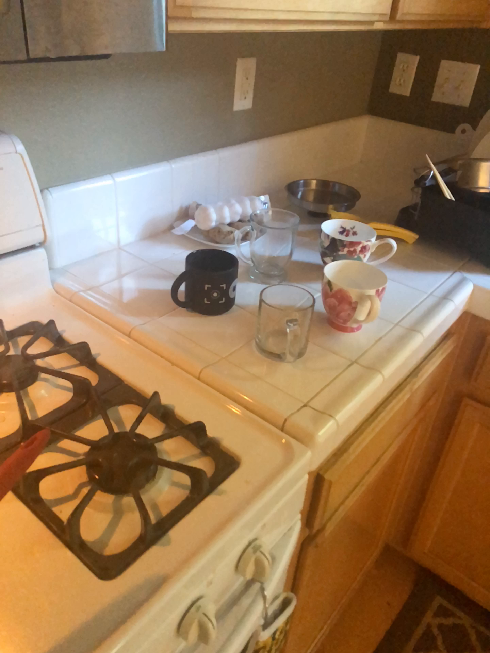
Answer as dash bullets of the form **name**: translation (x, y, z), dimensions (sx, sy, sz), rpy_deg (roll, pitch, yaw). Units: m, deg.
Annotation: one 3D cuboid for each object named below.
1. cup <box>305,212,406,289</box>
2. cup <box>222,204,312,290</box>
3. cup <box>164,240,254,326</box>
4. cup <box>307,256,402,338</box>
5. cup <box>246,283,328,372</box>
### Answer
- **cup**: translation (0.215, -0.151, 1.048), dimensions (0.160, 0.079, 0.101), rpy_deg (18, 35, 18)
- **cup**: translation (0.037, -0.148, 0.978), dimensions (0.120, 0.109, 0.101), rpy_deg (-12, 37, -26)
- **cup**: translation (-0.057, -0.071, 0.834), dimensions (0.080, 0.079, 0.111), rpy_deg (31, 40, 33)
- **cup**: translation (0.166, -0.049, 0.843), dimensions (0.100, 0.069, 0.131), rpy_deg (0, 33, -9)
- **cup**: translation (0.059, -0.002, 0.813), dimensions (0.090, 0.079, 0.121), rpy_deg (-1, 34, -10)
